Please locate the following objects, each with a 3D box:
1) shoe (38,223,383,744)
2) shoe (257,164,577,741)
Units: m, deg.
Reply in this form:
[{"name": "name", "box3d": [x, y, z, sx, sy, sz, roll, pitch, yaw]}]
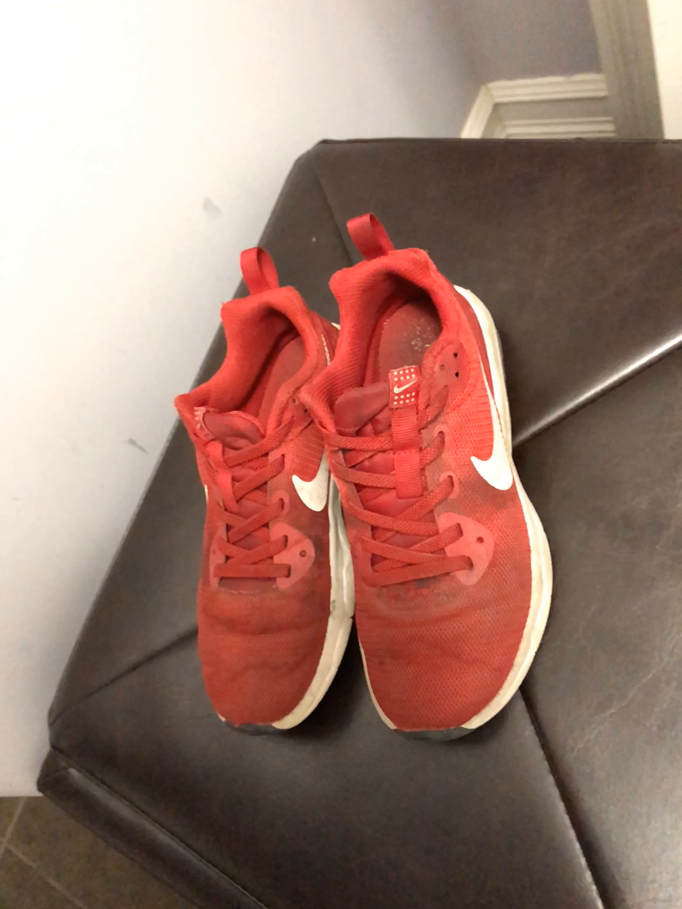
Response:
[{"name": "shoe", "box3d": [-0.052, 0.018, 0.373, 0.095, 0.100, 0.220, -3, 71, 27]}, {"name": "shoe", "box3d": [0.033, 0.007, 0.334, 0.095, 0.100, 0.220, -10, 68, 24]}]
